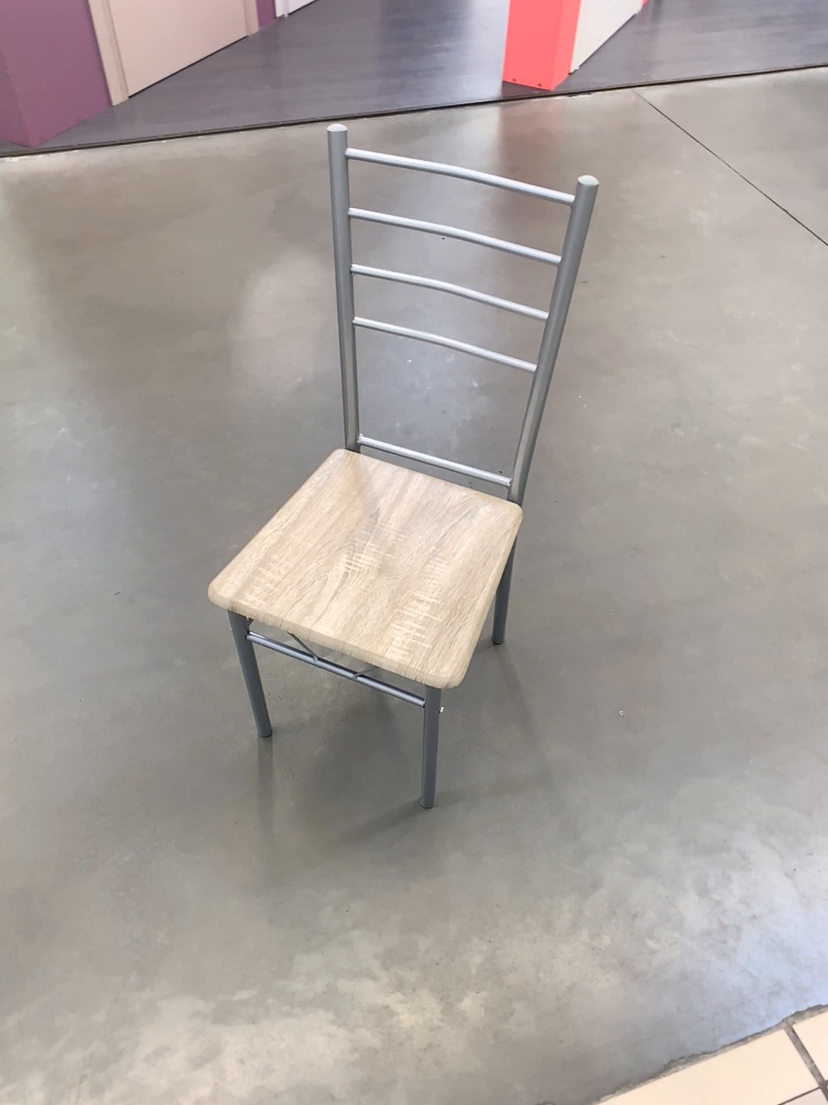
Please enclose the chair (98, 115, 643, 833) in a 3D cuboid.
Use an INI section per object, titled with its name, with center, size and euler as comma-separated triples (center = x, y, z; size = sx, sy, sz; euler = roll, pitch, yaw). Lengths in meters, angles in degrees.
[chair]
center = -0.026, -0.065, 1.205
size = 0.410, 0.836, 0.472
euler = 20, 51, 16
